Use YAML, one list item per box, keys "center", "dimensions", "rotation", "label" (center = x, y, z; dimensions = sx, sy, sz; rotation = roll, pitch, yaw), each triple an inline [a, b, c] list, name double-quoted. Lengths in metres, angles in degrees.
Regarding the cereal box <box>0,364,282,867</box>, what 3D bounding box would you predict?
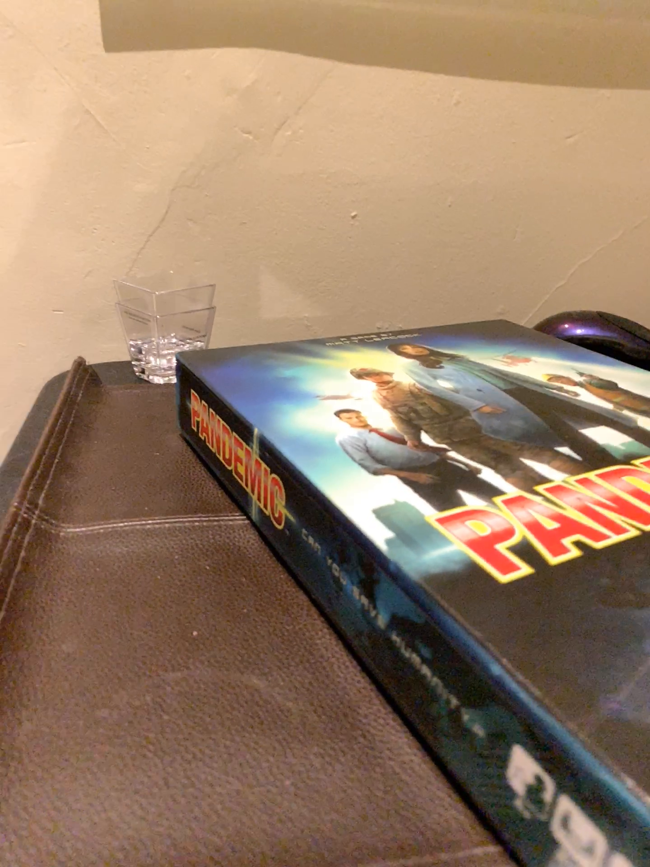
- center: [-0.408, 0.486, 0.950]
  dimensions: [0.511, 0.994, 0.471]
  rotation: [15, 28, 28]
  label: "cereal box"
